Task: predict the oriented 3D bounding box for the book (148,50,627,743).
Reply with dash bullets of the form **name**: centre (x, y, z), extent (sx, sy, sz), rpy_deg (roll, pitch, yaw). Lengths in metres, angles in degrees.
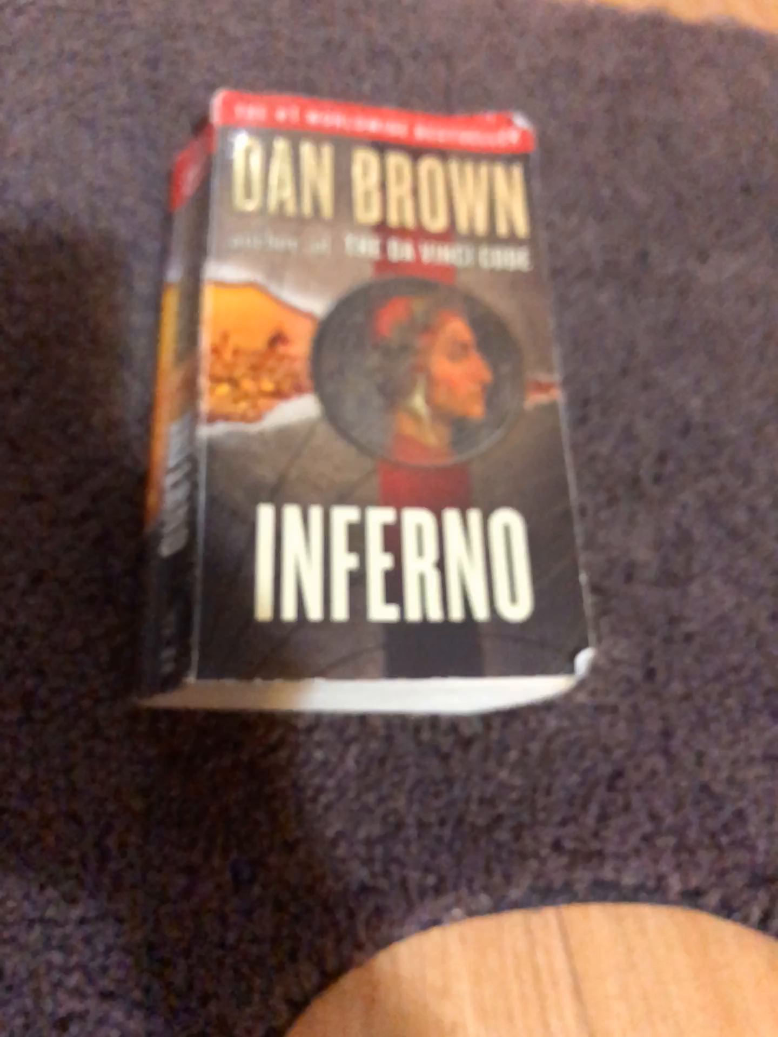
- **book**: centre (-0.006, -0.037, 0.274), extent (0.120, 0.050, 0.200), rpy_deg (3, 70, -13)
